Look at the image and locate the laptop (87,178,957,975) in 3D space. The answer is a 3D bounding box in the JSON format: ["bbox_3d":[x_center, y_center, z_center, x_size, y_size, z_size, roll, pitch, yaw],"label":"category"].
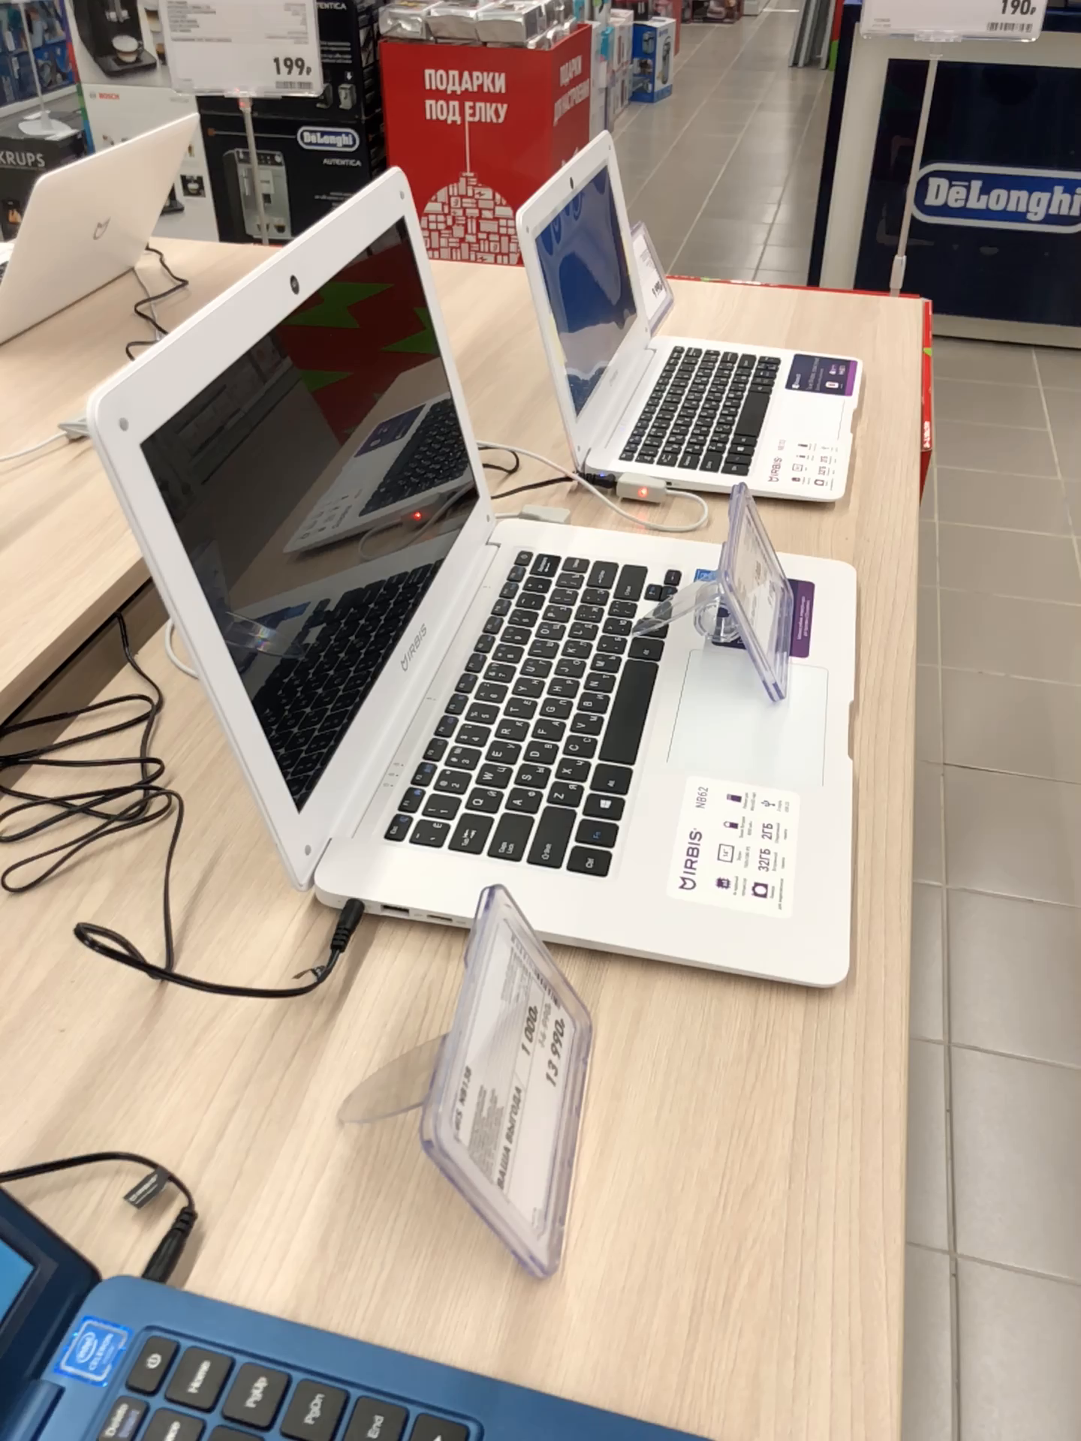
[{"bbox_3d":[0.020,-0.100,0.564,0.279,0.207,0.335,8,37,9],"label":"laptop"}]

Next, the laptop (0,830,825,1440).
[{"bbox_3d":[-0.132,0.199,0.191,0.310,0.158,0.300,9,37,11],"label":"laptop"}]

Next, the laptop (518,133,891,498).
[{"bbox_3d":[0.128,-0.313,0.886,0.221,0.167,0.261,9,39,11],"label":"laptop"}]
